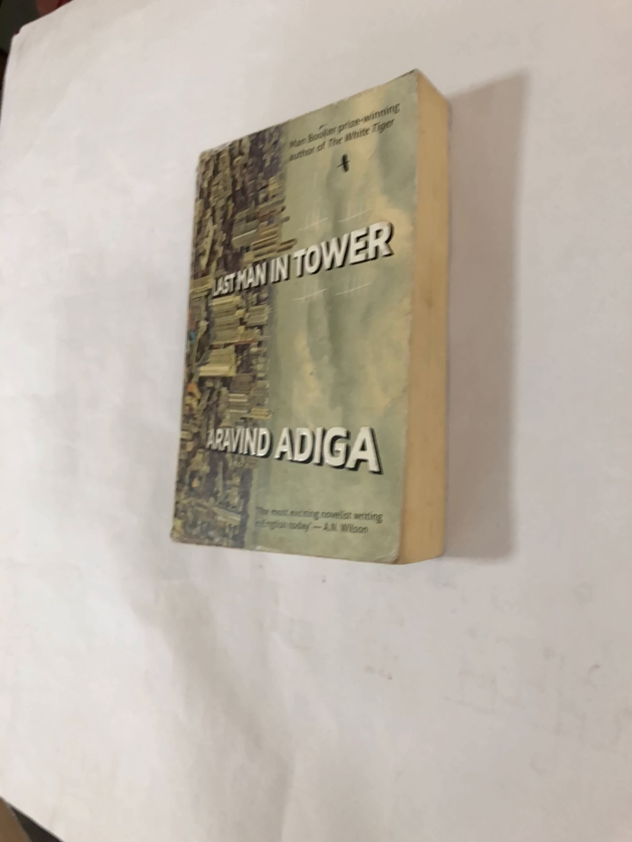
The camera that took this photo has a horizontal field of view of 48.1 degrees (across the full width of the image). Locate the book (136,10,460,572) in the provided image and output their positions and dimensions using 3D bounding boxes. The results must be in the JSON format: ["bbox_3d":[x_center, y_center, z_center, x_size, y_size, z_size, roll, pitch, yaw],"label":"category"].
[{"bbox_3d":[-0.012,-0.049,0.322,0.151,0.030,0.220,-4,78,37],"label":"book"}]
